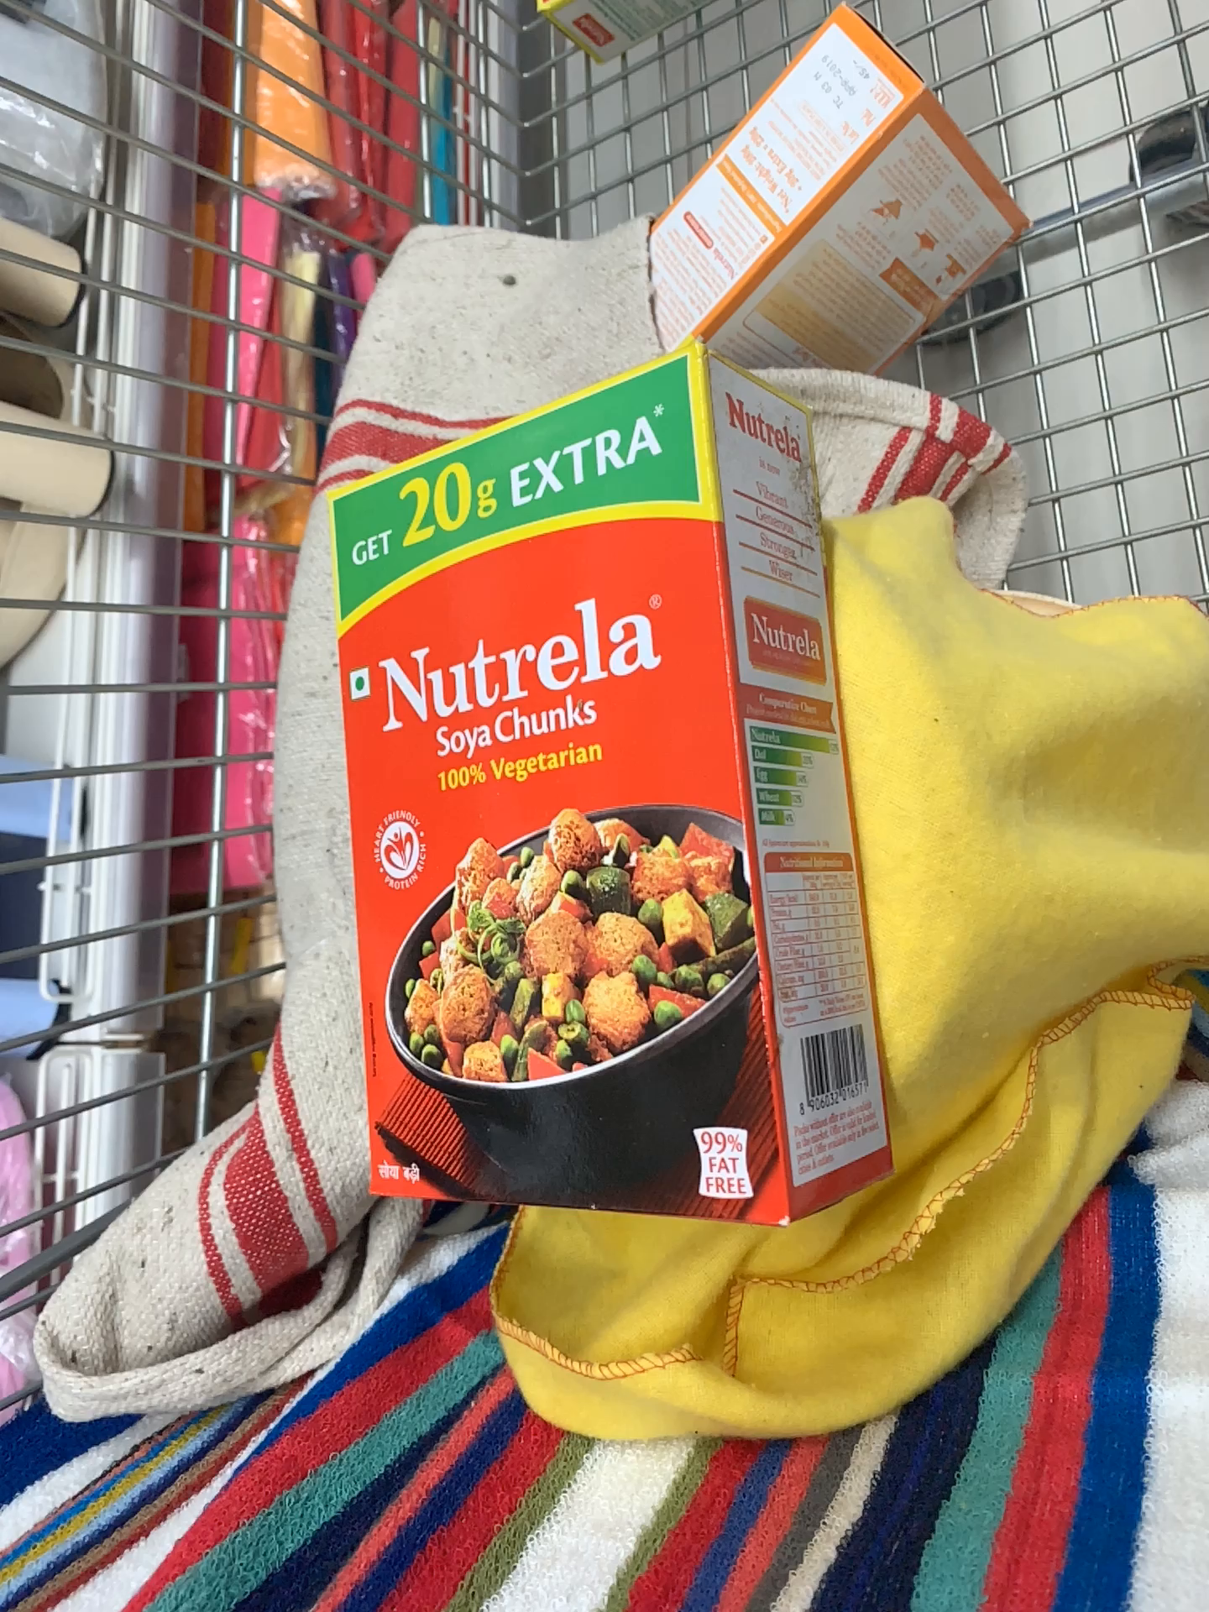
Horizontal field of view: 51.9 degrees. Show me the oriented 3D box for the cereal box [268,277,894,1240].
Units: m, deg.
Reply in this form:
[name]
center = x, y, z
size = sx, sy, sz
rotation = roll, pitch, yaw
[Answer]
[cereal box]
center = -0.011, -0.003, 0.287
size = 0.121, 0.060, 0.180
rotation = -10, 81, 35
